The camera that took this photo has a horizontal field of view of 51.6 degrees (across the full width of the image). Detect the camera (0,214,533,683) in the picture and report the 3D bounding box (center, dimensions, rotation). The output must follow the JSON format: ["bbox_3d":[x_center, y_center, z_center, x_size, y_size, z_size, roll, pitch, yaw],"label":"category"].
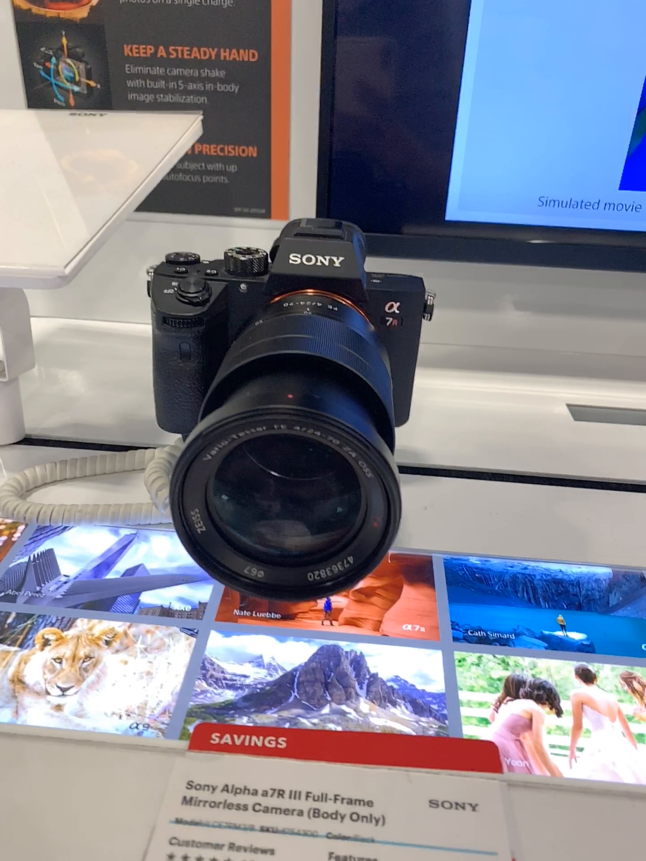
[{"bbox_3d":[-0.012,-0.015,0.269,0.130,0.100,0.194,2,29,1],"label":"camera"}]
